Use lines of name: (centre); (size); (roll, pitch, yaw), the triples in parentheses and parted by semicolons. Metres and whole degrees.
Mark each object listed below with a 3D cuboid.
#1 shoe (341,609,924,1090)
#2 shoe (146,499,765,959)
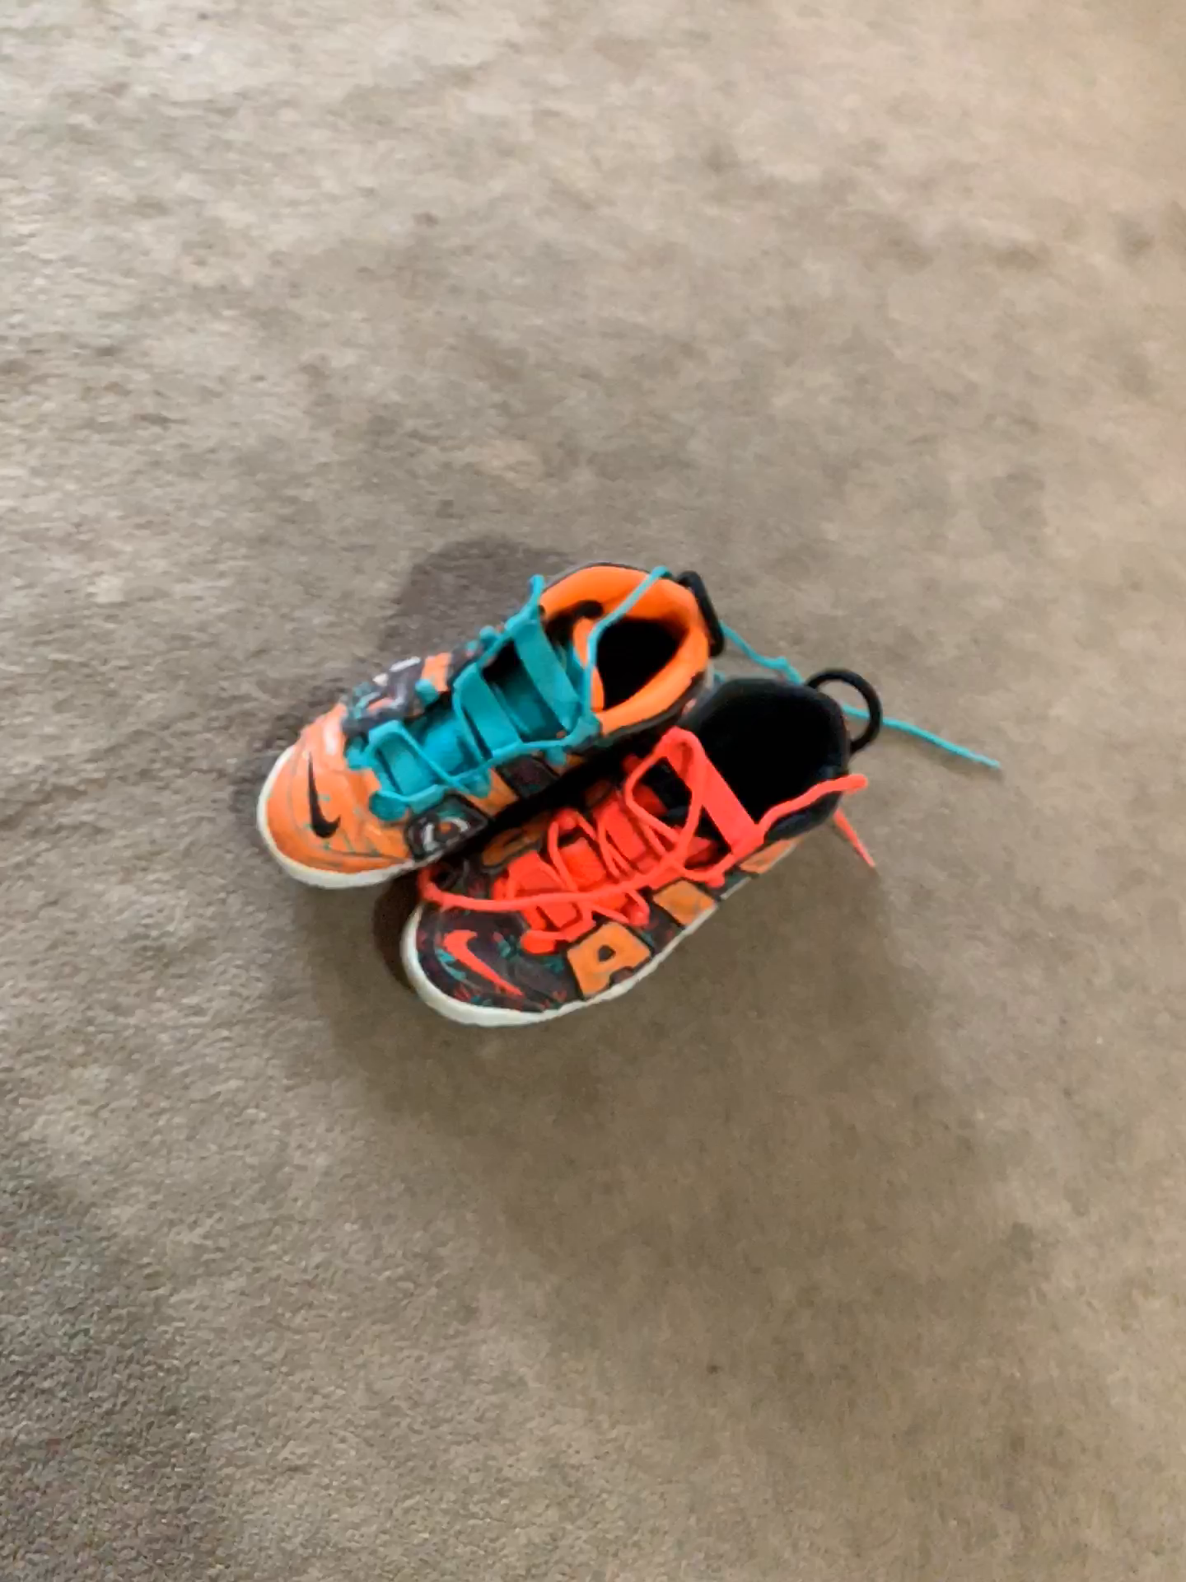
shoe: (0.017, 0.032, 0.574); (0.230, 0.110, 0.100); (-31, 79, -8)
shoe: (-0.060, -0.026, 0.579); (0.250, 0.090, 0.100); (-26, 81, -8)
